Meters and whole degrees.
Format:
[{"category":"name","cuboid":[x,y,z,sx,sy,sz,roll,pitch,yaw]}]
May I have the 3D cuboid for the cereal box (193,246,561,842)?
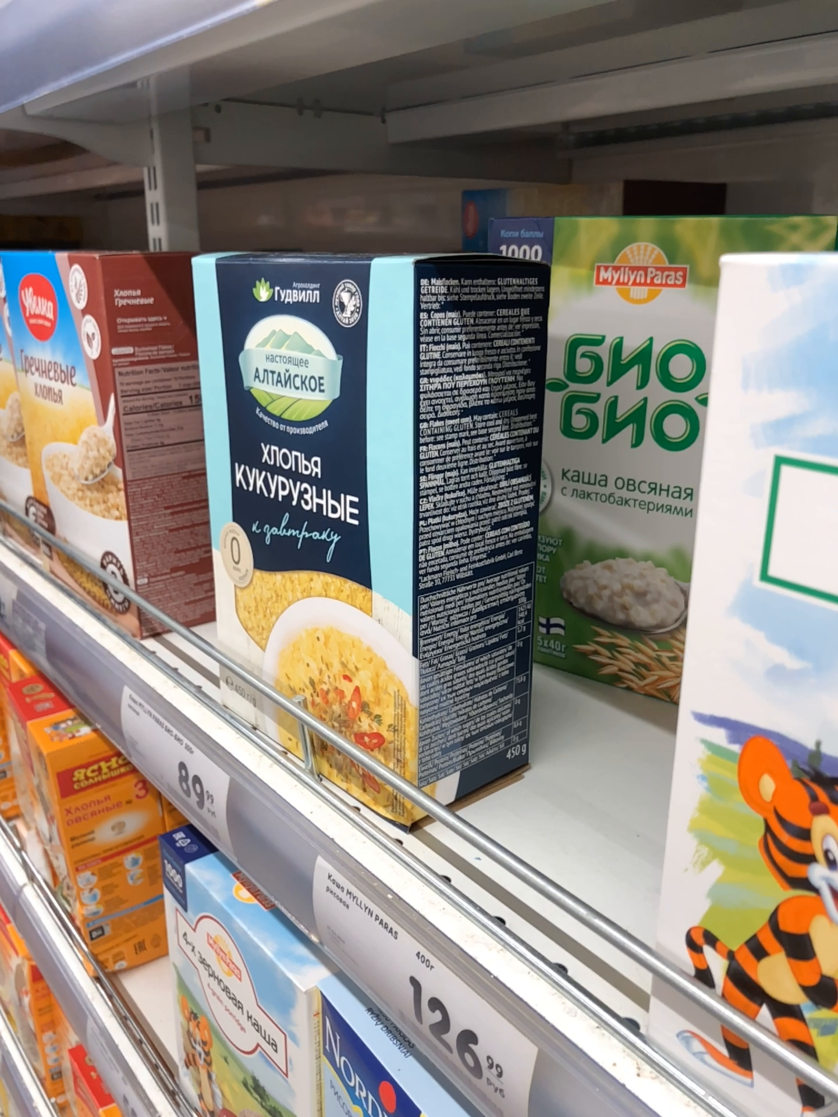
[{"category":"cereal box","cuboid":[-0.020,-0.017,0.349,0.060,0.189,0.130,-14,22,-38]}]
